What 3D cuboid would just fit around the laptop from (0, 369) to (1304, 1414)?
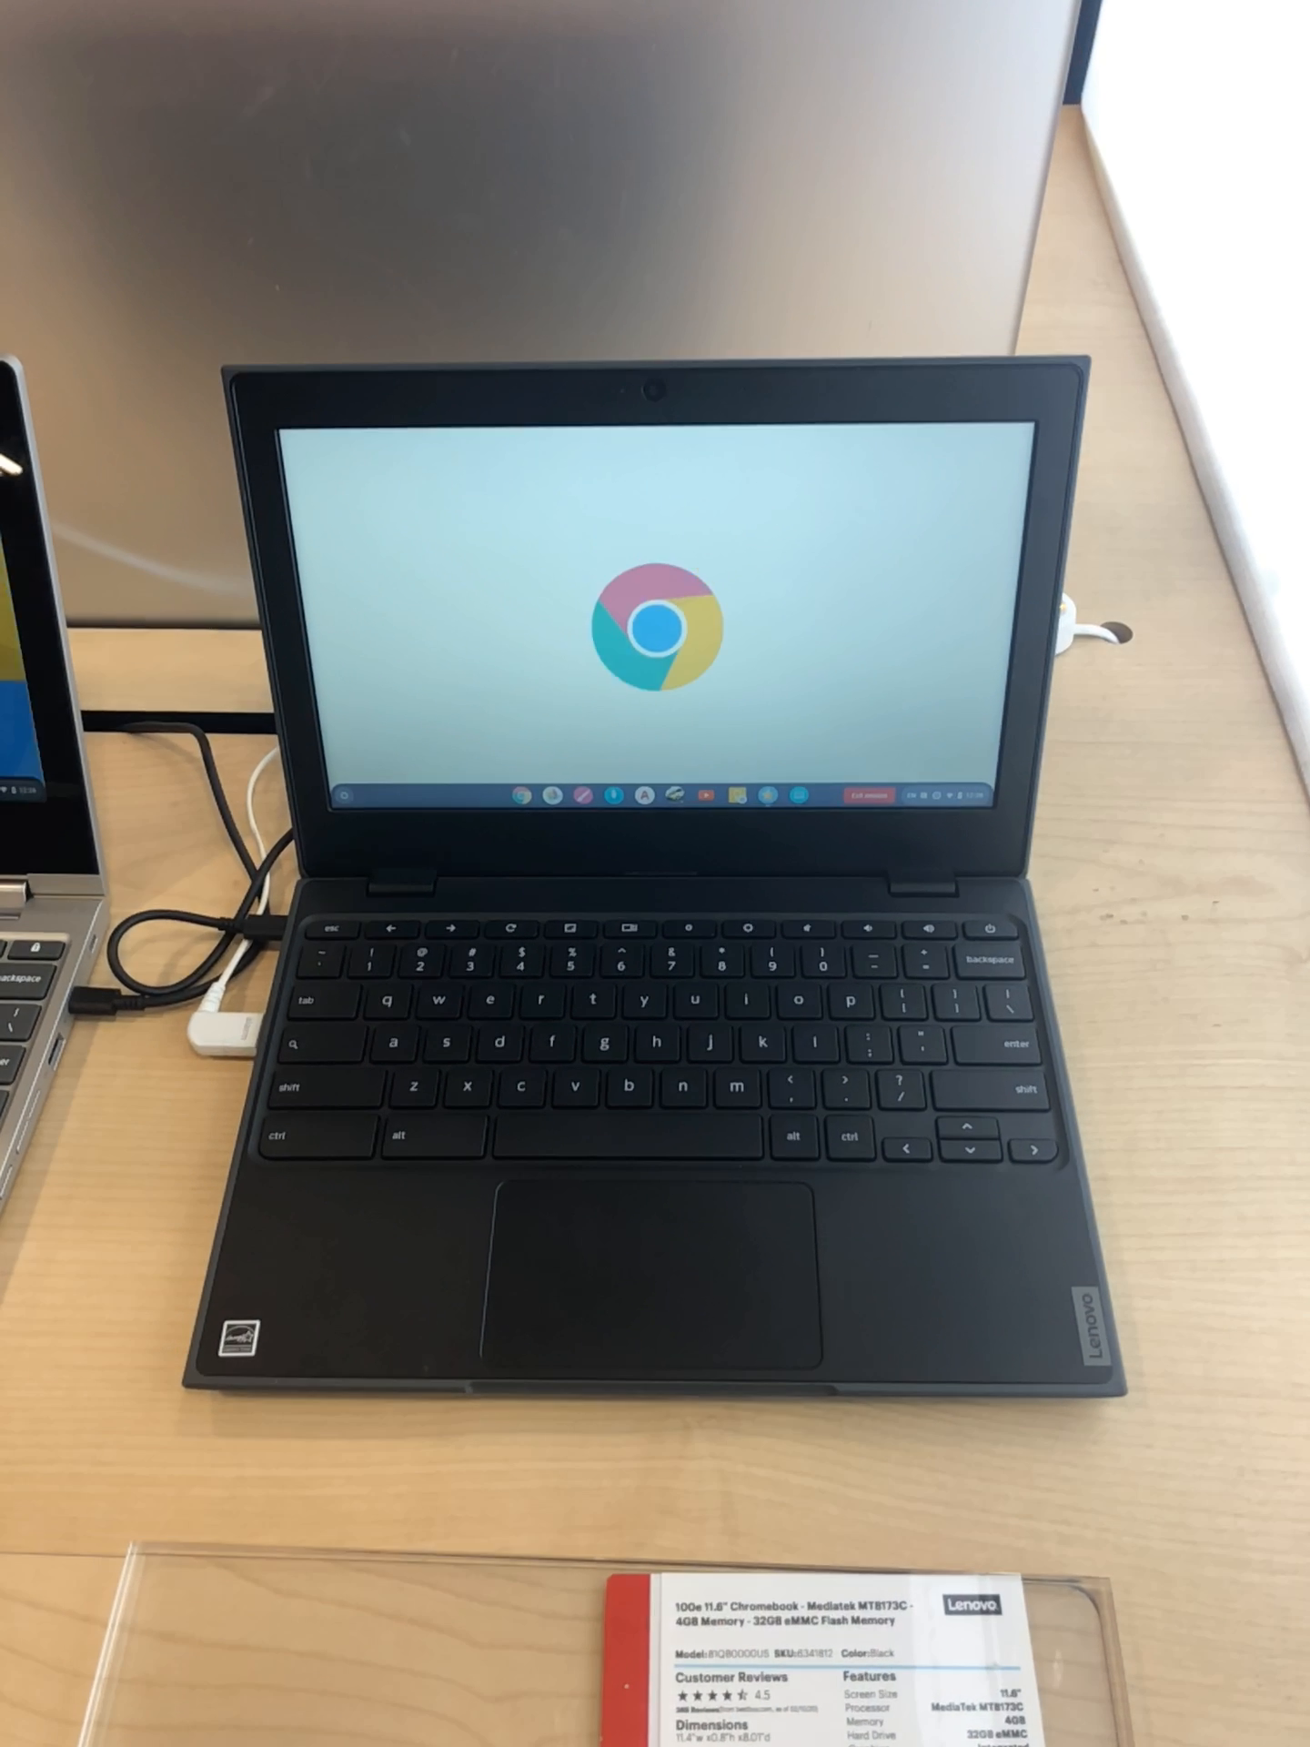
[{"bbox_3d":[0.003,-0.001,0.458,0.281,0.179,0.272,0,49,2],"label":"laptop"}]
